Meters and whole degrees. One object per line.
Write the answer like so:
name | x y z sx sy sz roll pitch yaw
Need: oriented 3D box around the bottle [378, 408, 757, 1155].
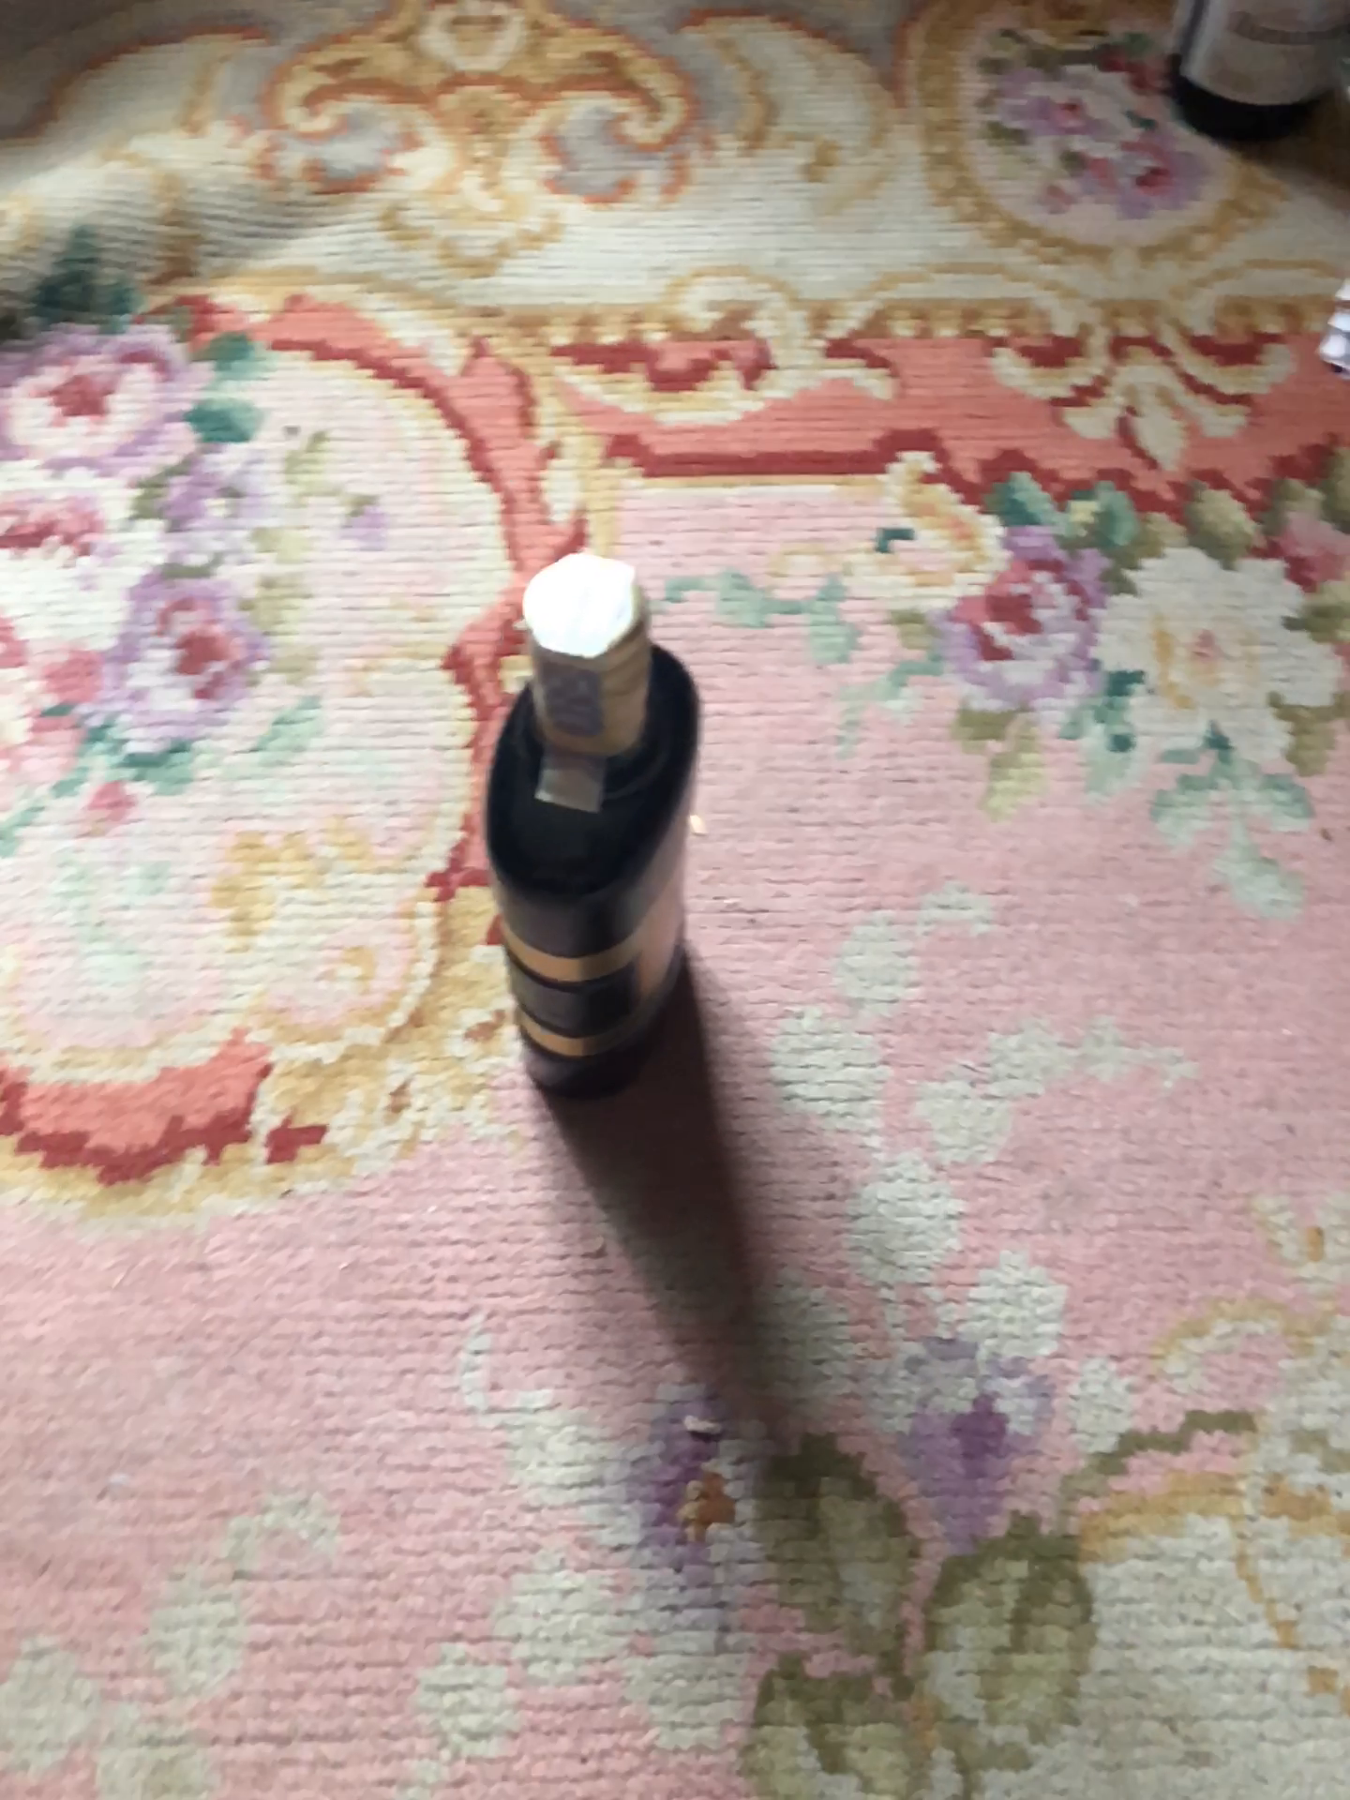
bottle | -0.022 -0.014 0.435 0.050 0.239 0.100 18 65 8
